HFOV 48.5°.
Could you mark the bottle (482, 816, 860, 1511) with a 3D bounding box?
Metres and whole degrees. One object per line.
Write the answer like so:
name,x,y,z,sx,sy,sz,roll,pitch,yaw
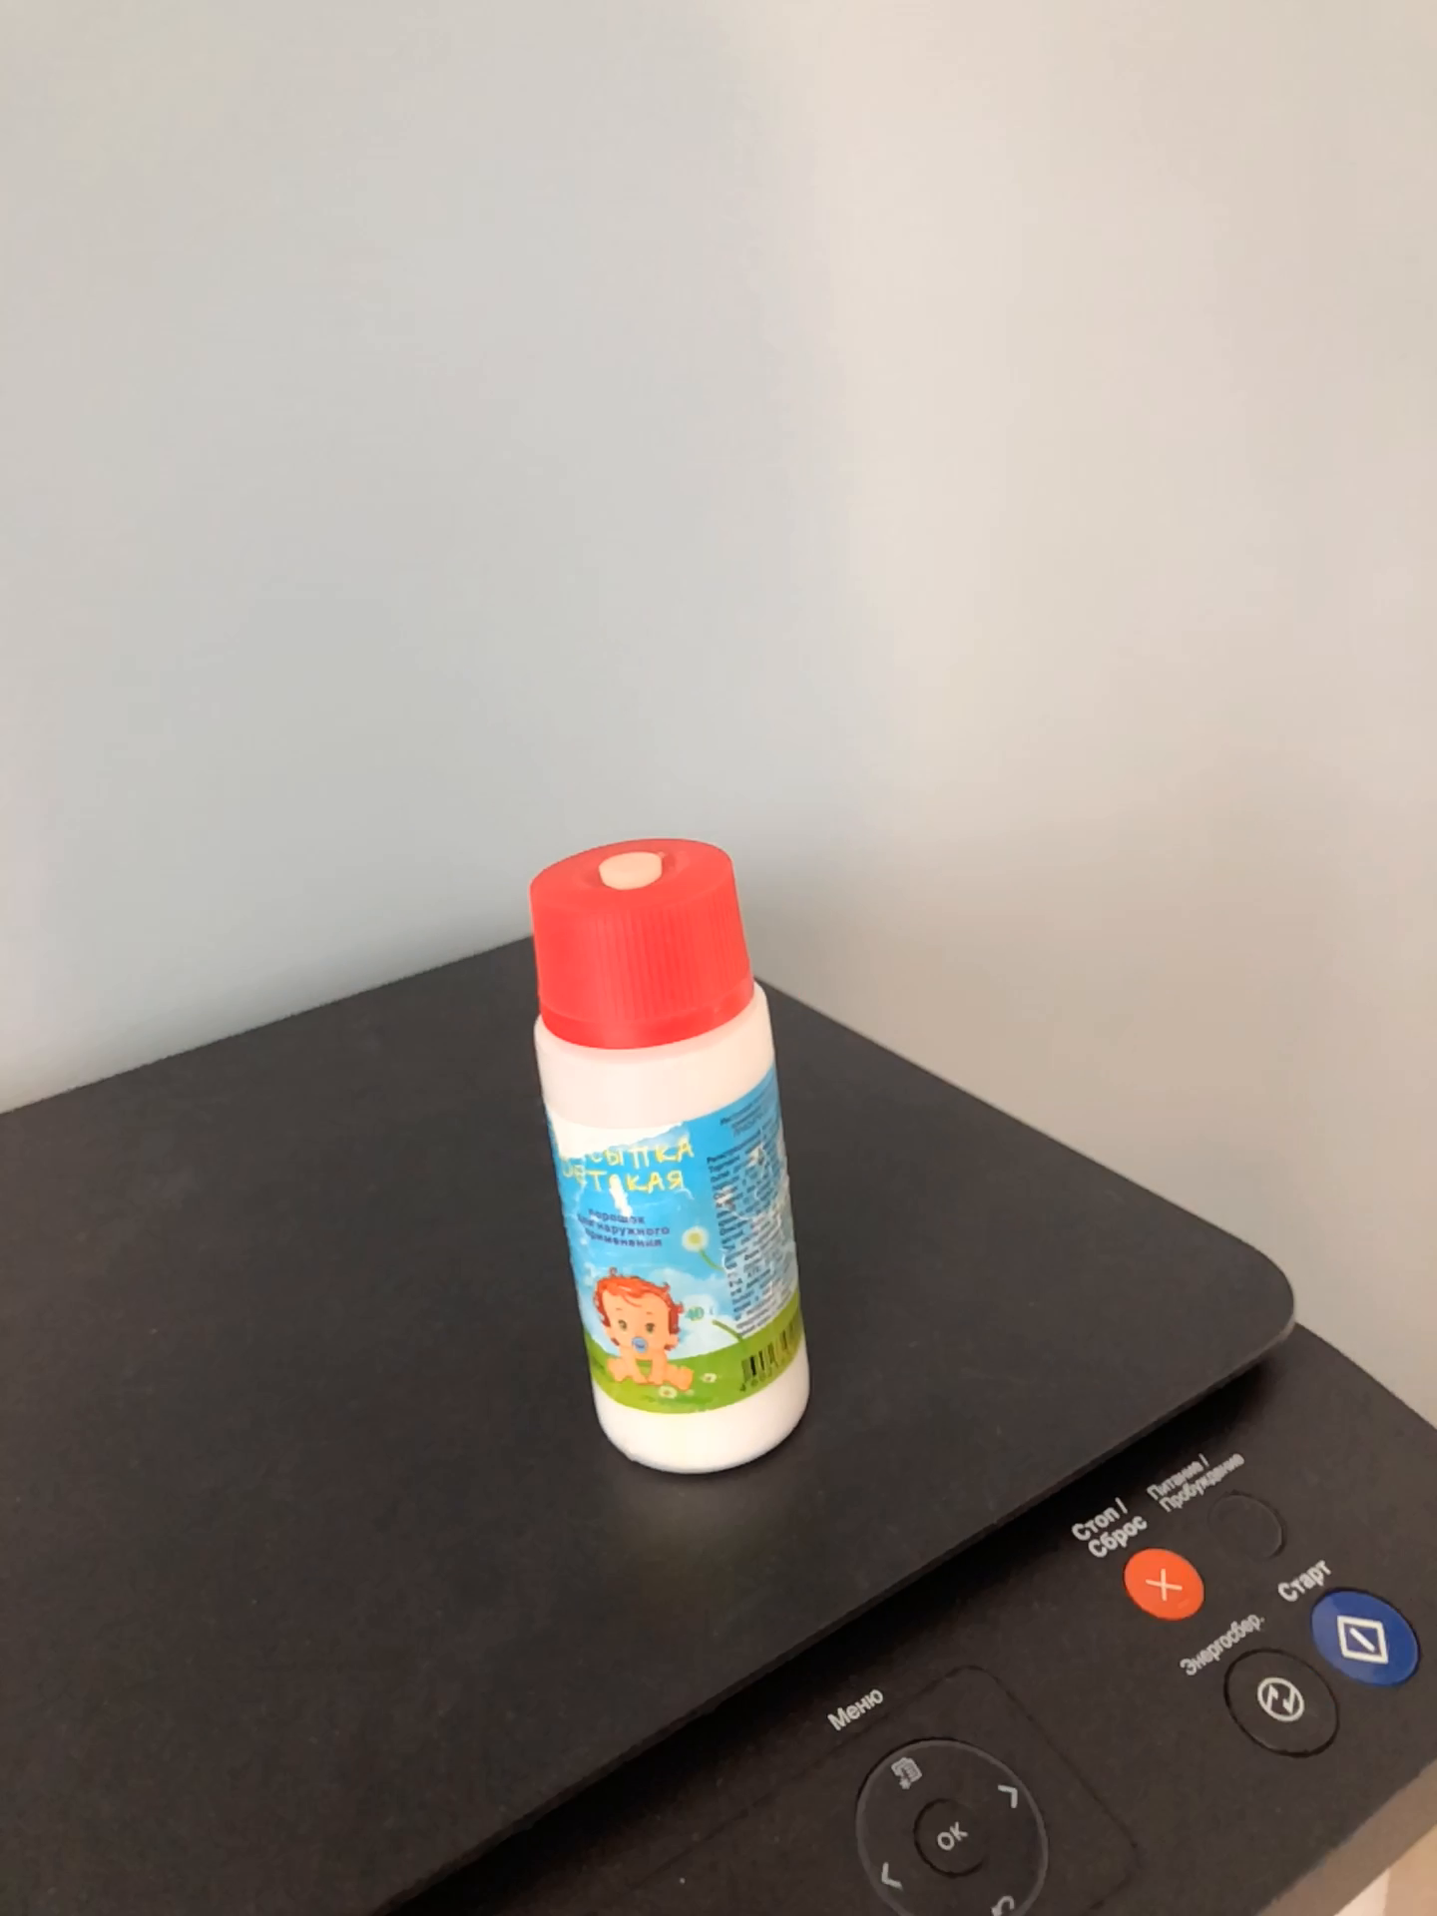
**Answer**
bottle,-0.005,0.036,0.288,0.042,0.112,0.044,-5,24,2
